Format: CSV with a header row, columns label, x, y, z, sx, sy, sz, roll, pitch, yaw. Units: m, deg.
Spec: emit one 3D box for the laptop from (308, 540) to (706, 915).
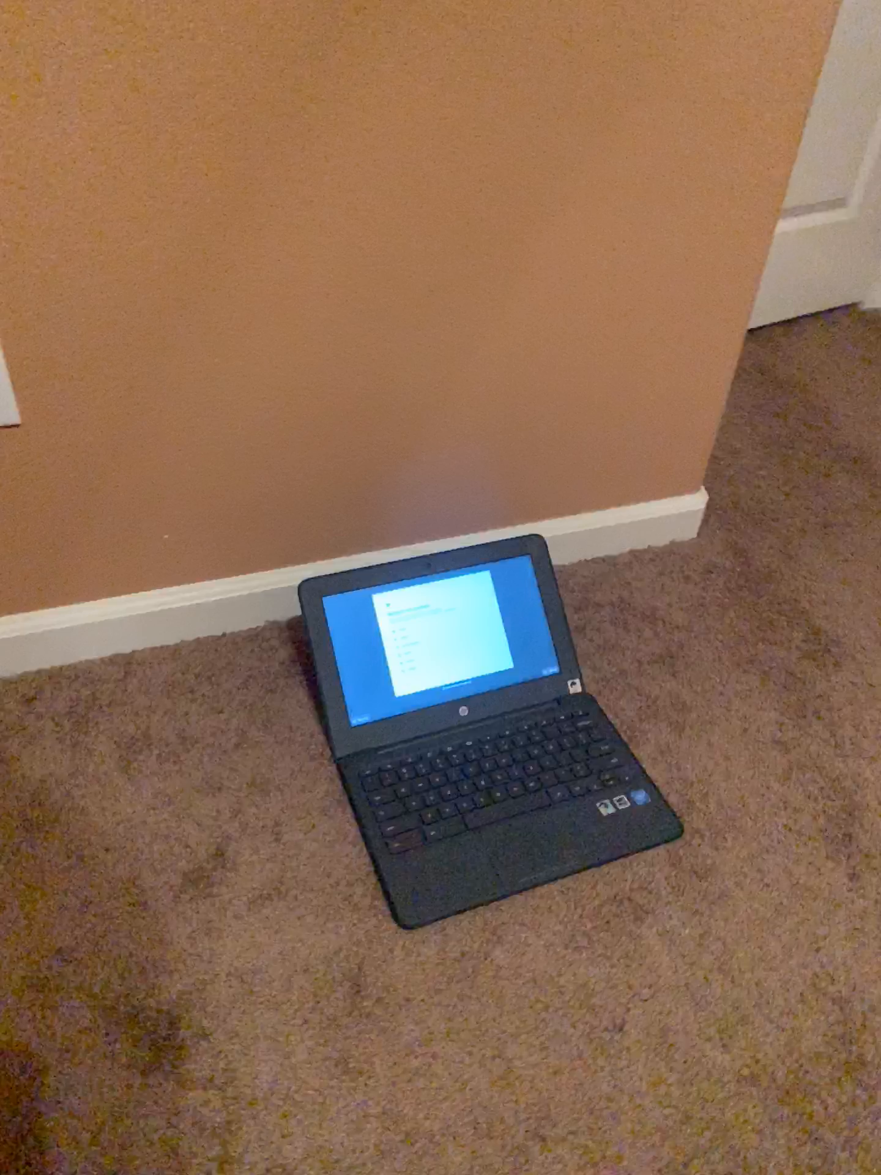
label,x,y,z,sx,sy,sz,roll,pitch,yaw
laptop,0.046,0.119,0.941,0.288,0.124,0.333,-11,41,-19
